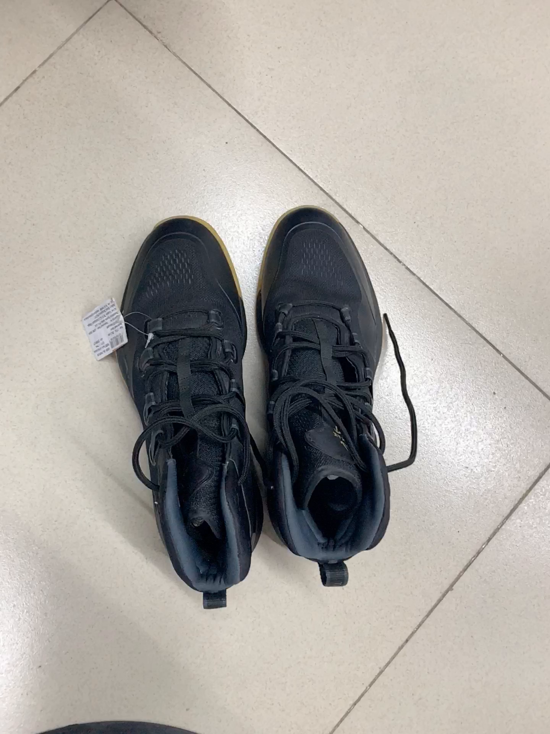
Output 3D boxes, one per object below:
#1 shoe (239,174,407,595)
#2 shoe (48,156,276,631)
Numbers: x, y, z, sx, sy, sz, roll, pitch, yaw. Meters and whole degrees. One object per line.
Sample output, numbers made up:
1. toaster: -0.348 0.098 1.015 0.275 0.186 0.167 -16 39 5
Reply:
1. shoe: 0.030 0.011 0.435 0.110 0.090 0.290 -1 87 -4
2. shoe: -0.077 0.017 0.427 0.110 0.140 0.290 -7 87 -4
